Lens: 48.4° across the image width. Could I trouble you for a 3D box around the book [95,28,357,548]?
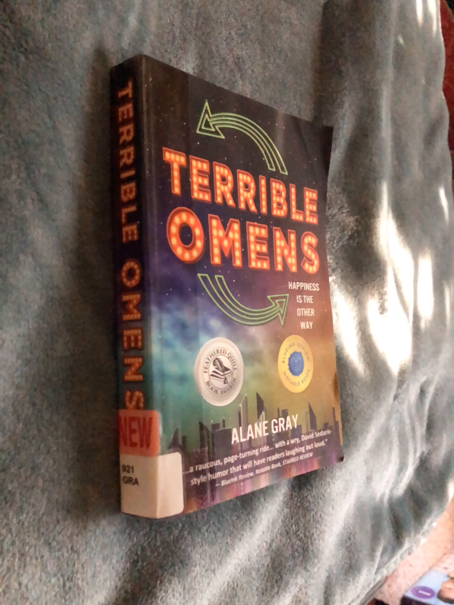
[{"bbox_3d":[0.008,-0.007,0.252,0.141,0.028,0.200,1,83,-45],"label":"book"}]
